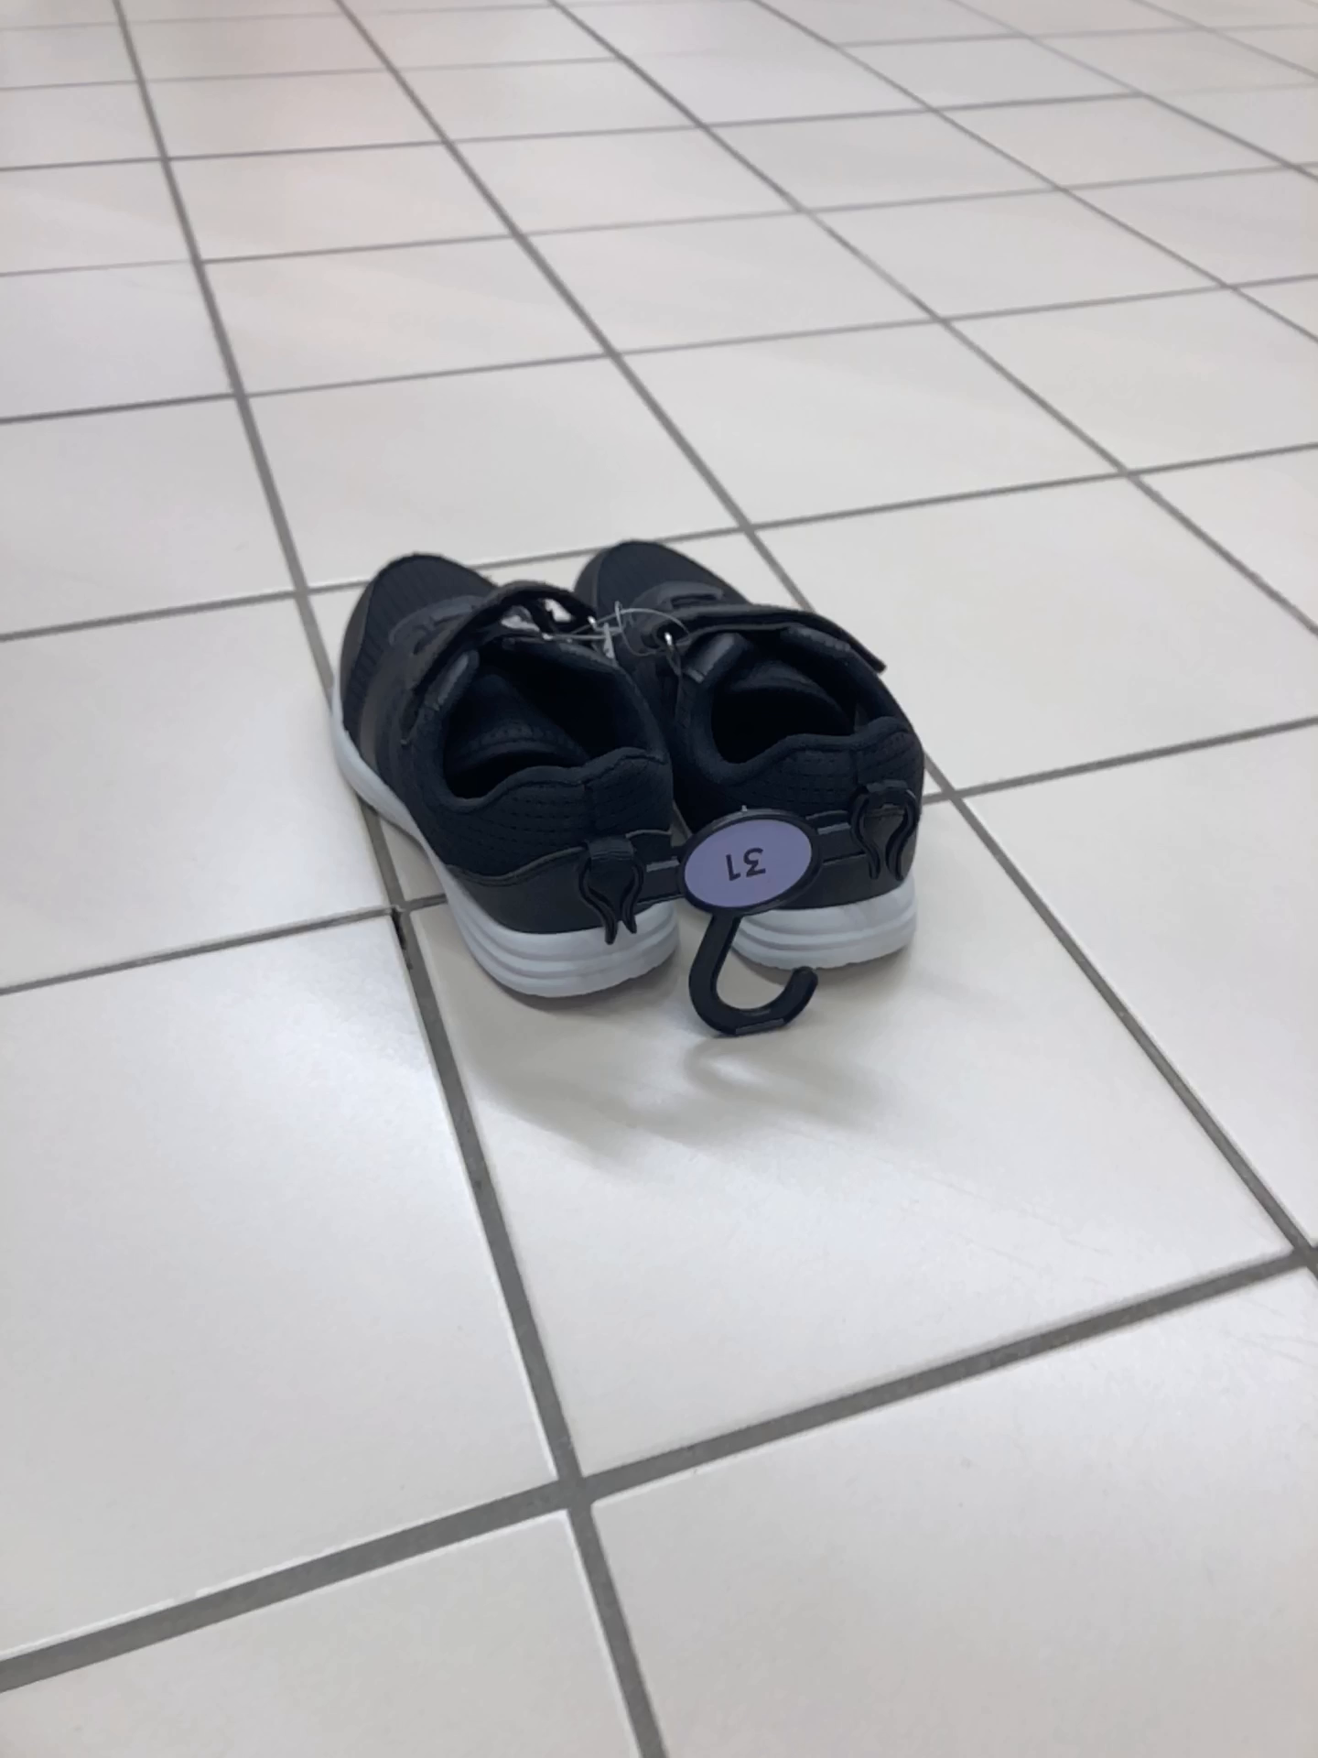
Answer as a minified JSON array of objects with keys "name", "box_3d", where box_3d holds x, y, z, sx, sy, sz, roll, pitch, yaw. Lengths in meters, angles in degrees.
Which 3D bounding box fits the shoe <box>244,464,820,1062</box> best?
[{"name":"shoe","box_3d":[-0.052,-0.053,0.482,0.098,0.064,0.223,-19,46,-22]}]

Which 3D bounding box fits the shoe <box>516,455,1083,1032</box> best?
[{"name":"shoe","box_3d":[0.033,-0.060,0.494,0.098,0.064,0.223,-14,44,-17]}]
